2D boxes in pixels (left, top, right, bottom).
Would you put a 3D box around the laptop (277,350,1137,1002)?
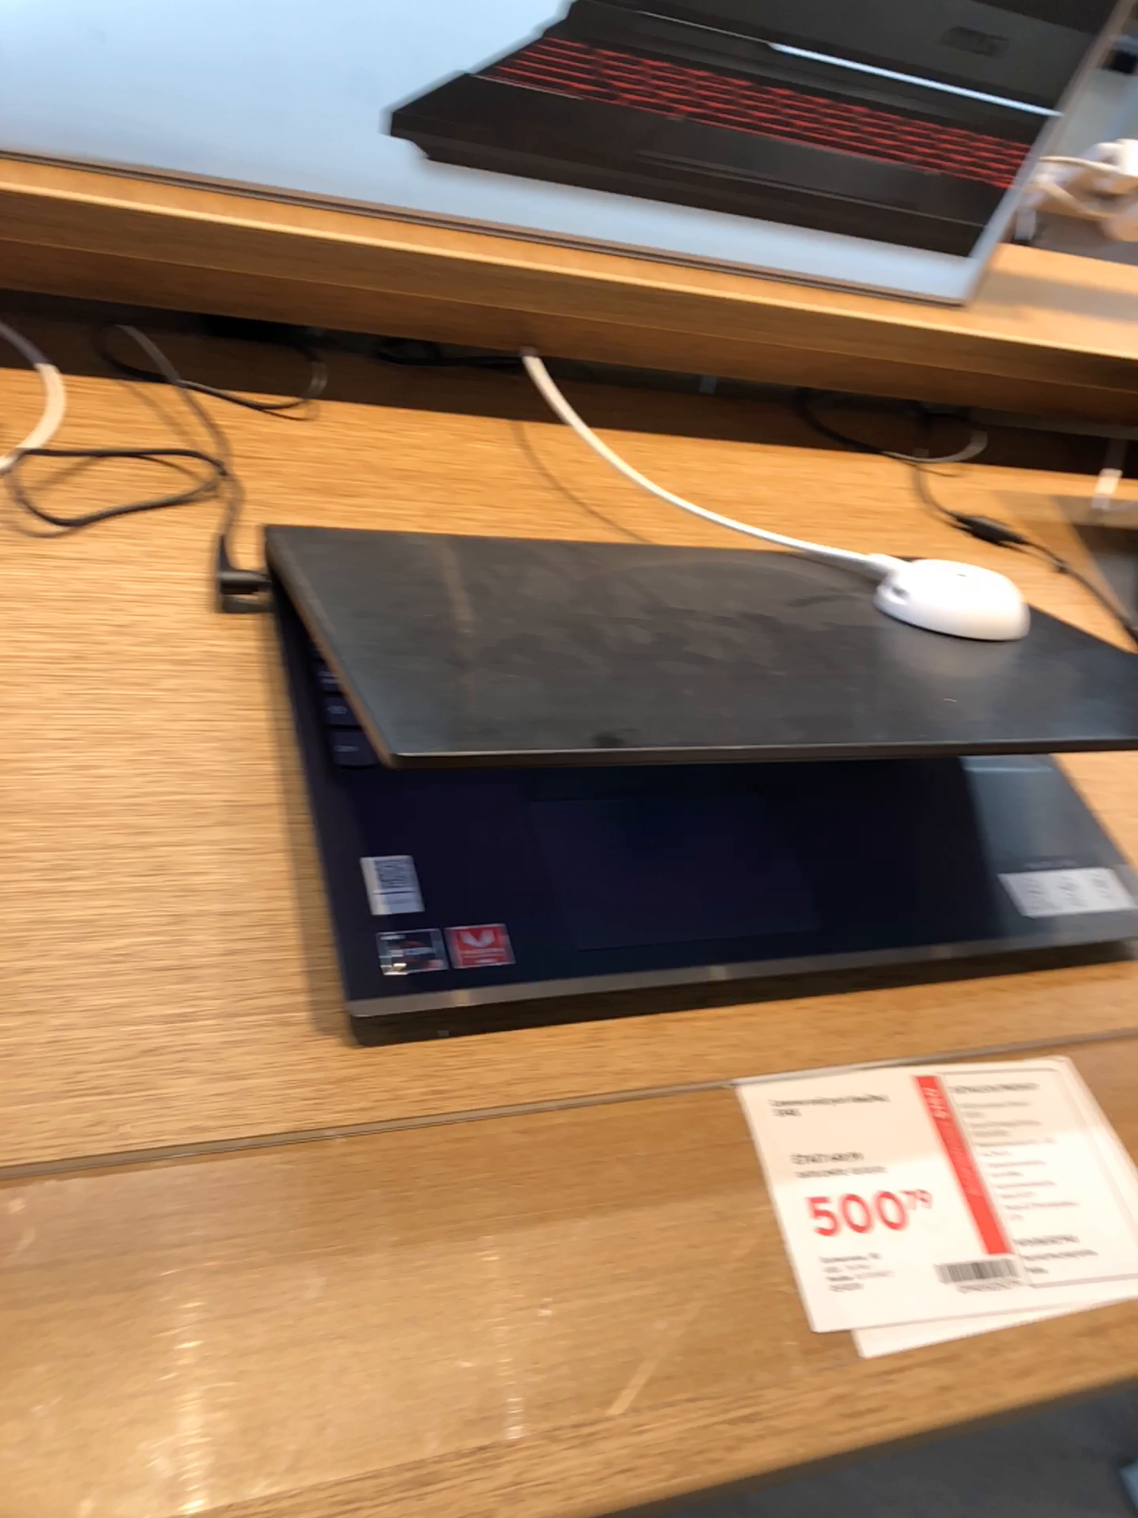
[{"bbox_3d":[0.068,-0.043,0.496,0.331,0.083,0.224,-1,49,-26],"label":"laptop"}]
